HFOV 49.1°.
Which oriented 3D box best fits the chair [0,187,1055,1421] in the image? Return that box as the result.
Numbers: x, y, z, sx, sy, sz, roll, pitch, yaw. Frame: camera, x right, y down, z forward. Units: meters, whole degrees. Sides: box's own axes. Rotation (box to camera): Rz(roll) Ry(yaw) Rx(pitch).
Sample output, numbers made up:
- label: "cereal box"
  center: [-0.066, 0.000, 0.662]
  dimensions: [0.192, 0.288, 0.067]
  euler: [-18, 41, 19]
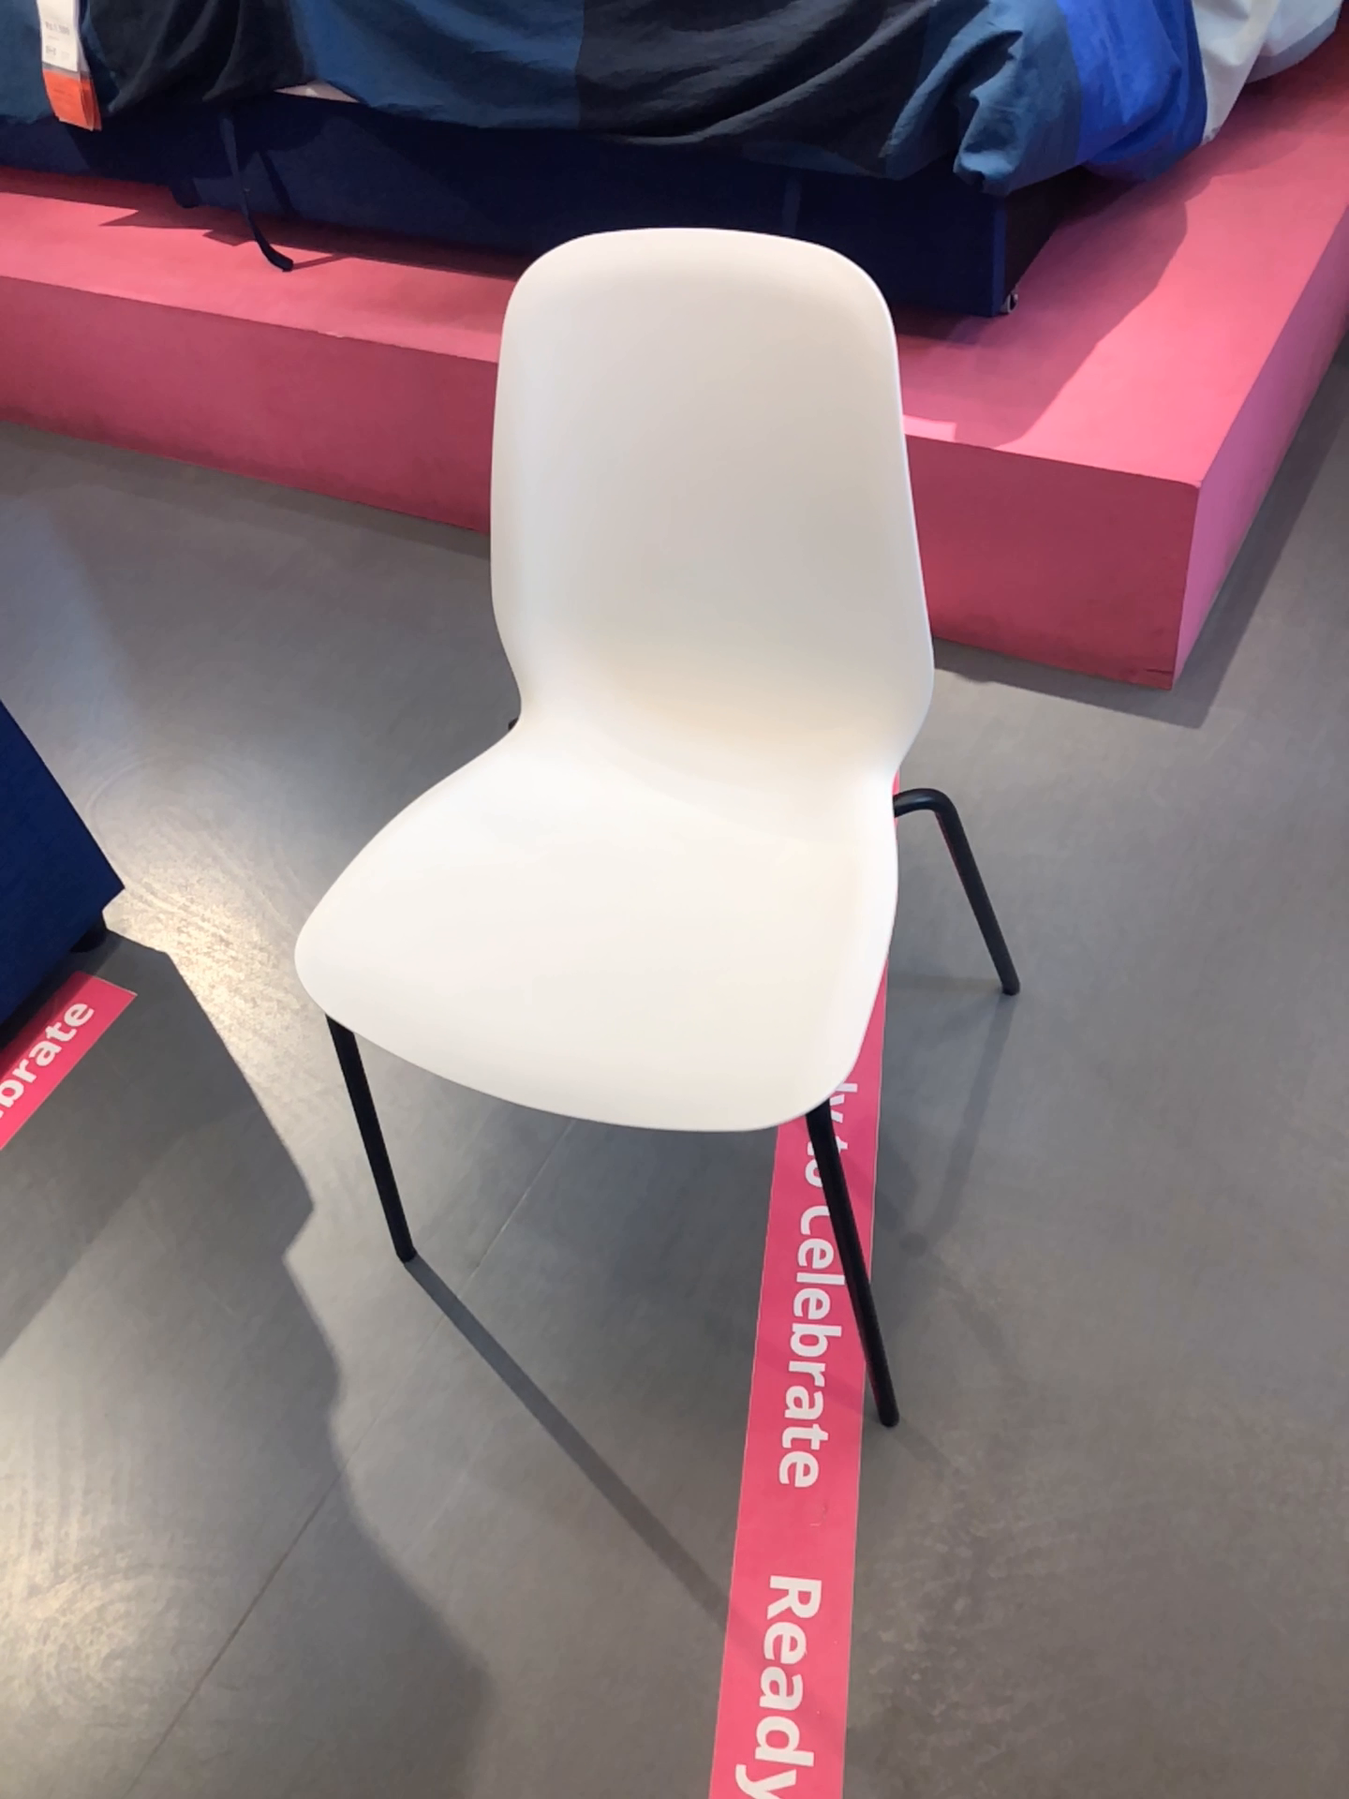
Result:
- label: "chair"
  center: [-0.034, -0.052, 1.151]
  dimensions: [0.511, 0.756, 0.492]
  euler: [13, 53, 21]
